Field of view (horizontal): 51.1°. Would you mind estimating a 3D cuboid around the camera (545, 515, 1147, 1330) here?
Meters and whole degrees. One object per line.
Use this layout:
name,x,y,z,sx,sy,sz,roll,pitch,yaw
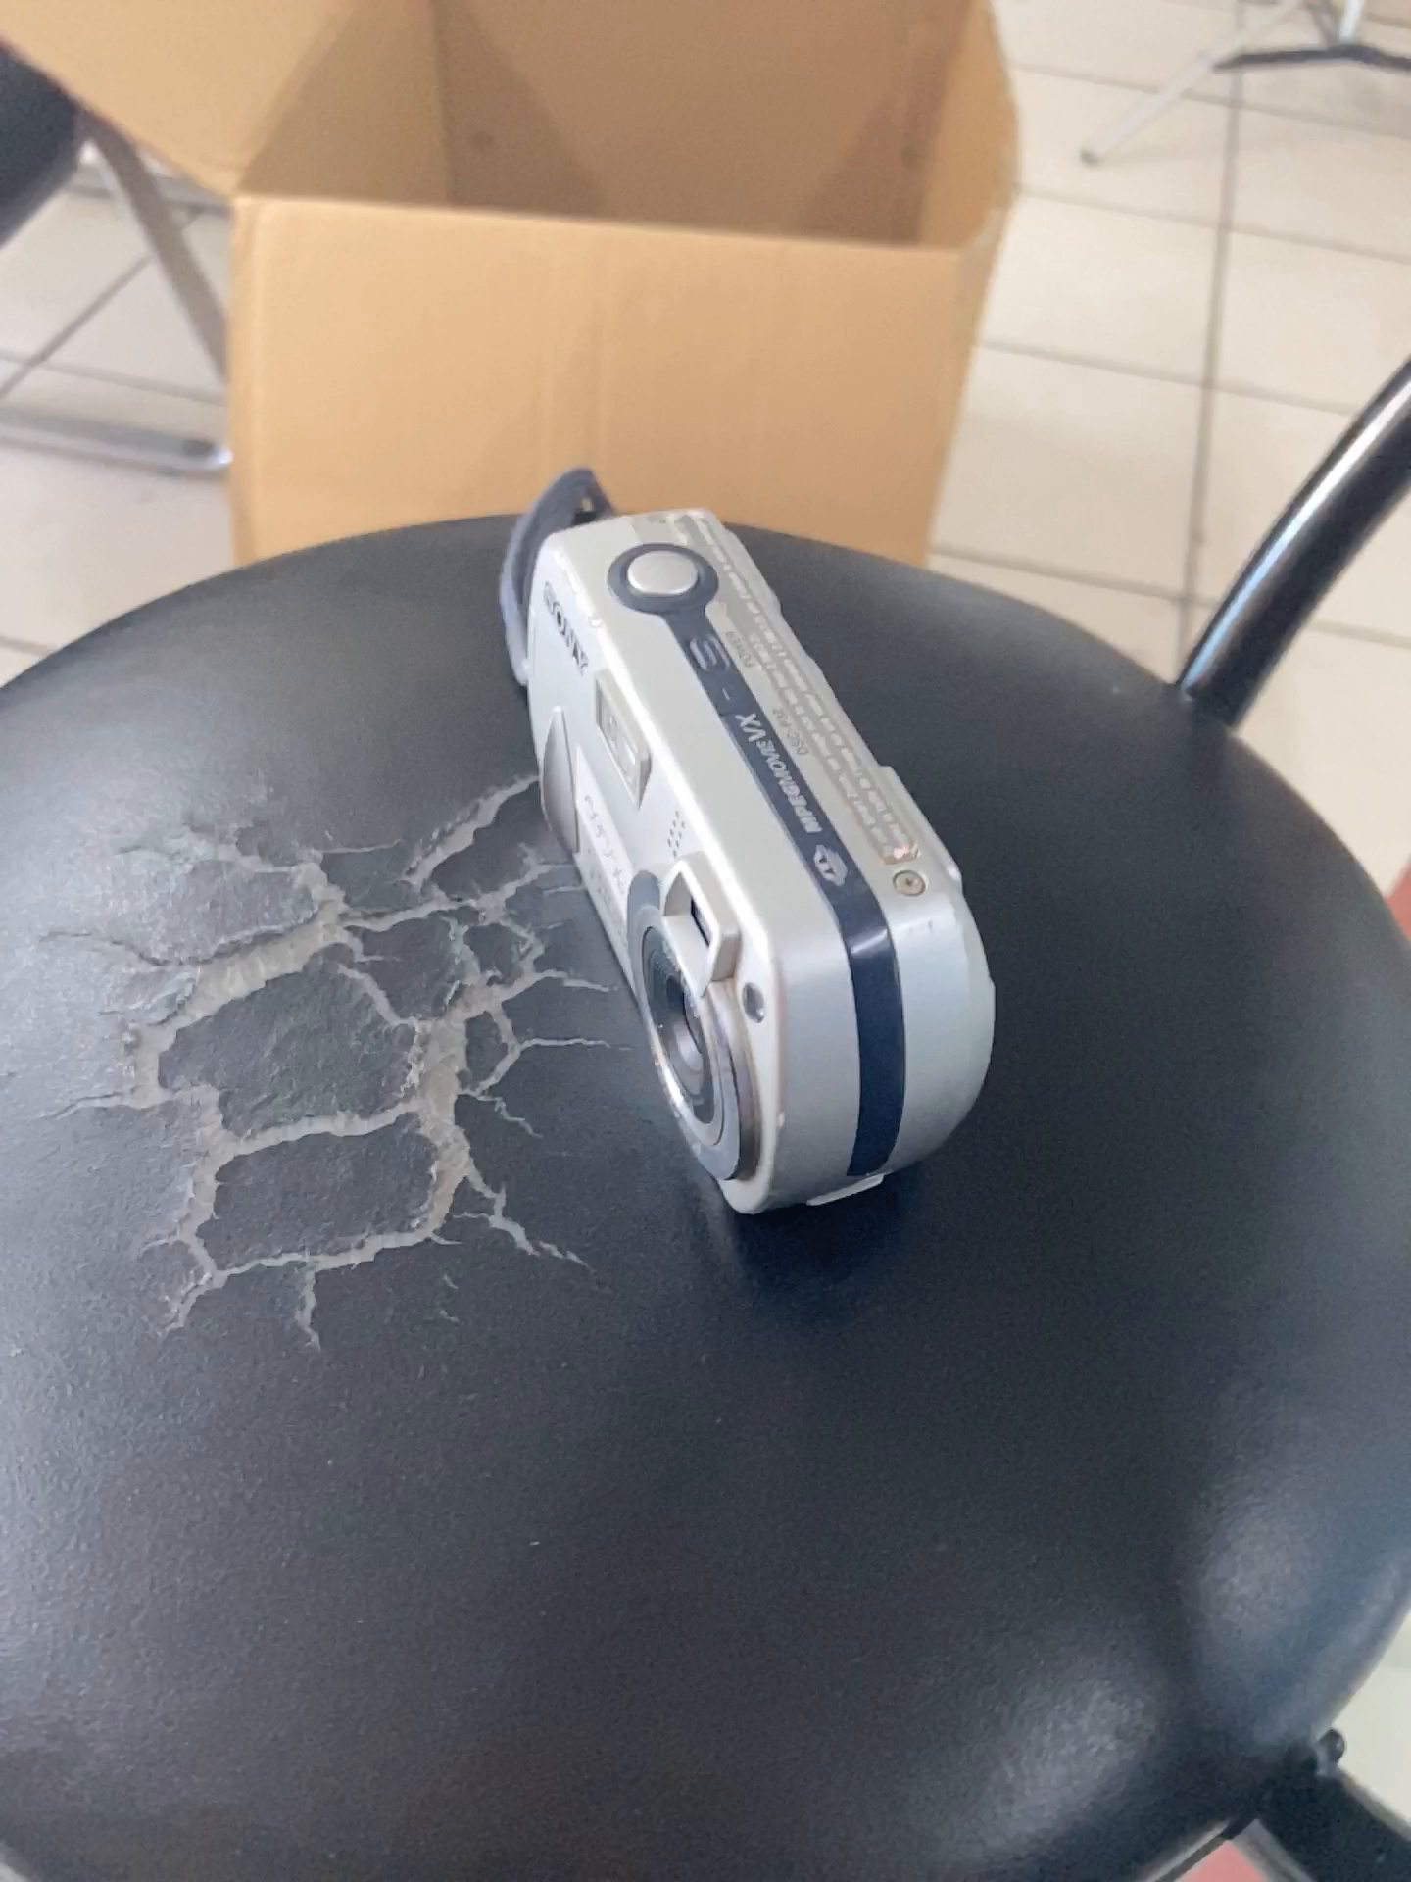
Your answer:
camera,0.012,-0.007,0.207,0.040,0.050,0.100,-14,53,-15
